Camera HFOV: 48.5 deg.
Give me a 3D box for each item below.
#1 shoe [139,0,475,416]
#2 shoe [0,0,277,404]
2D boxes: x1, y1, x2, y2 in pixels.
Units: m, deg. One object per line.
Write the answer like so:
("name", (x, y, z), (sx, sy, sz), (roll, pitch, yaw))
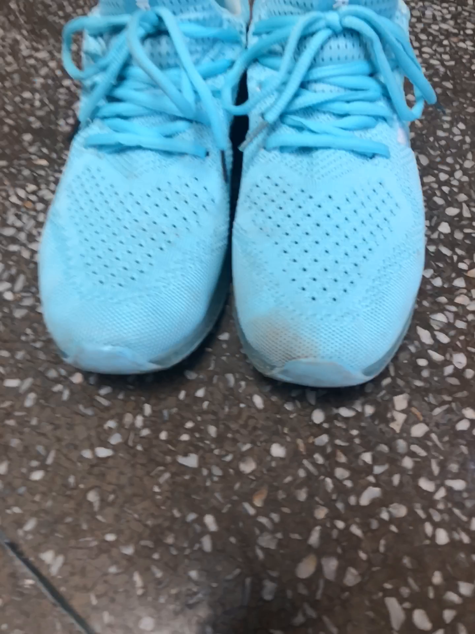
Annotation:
("shoe", (0.045, -0.102, 0.287), (0.120, 0.125, 0.271), (4, 59, 5))
("shoe", (-0.051, -0.107, 0.297), (0.120, 0.125, 0.271), (5, 59, 6))
